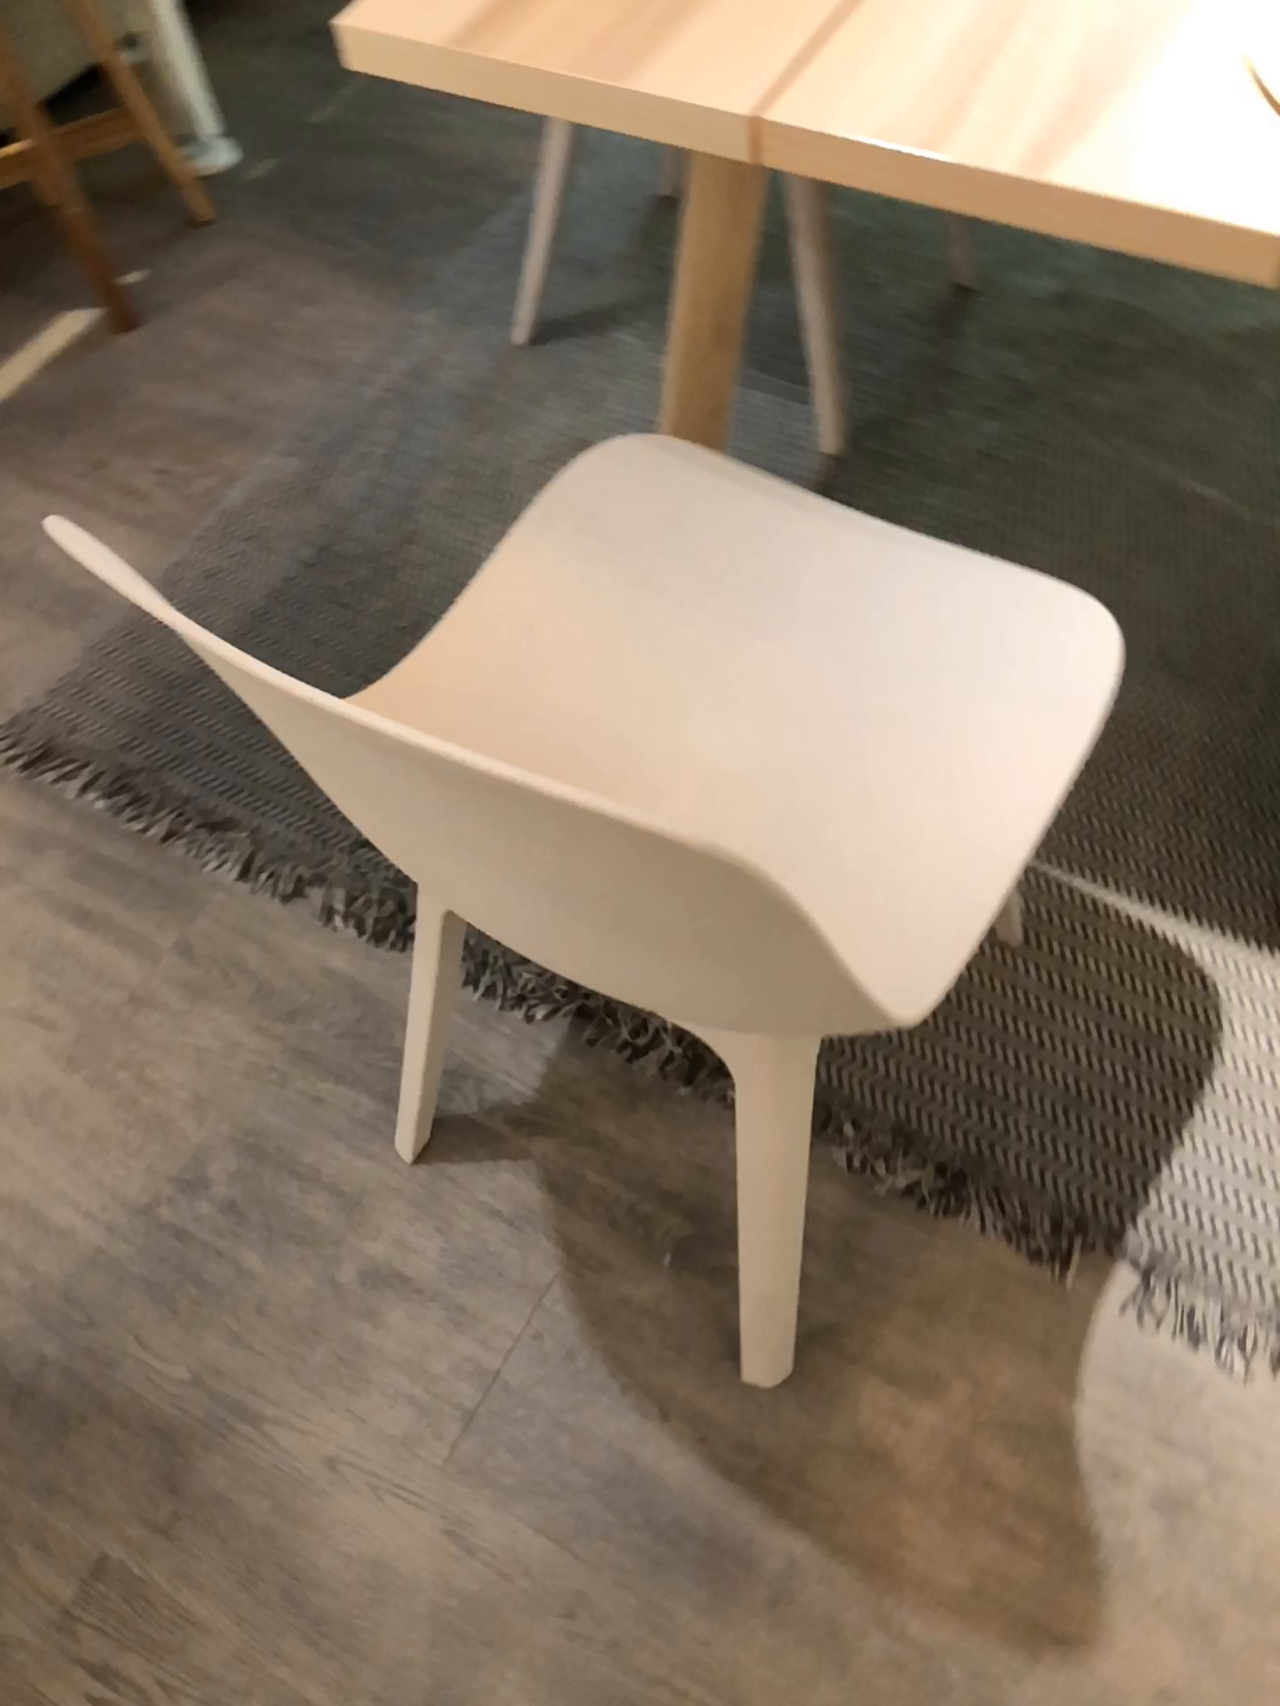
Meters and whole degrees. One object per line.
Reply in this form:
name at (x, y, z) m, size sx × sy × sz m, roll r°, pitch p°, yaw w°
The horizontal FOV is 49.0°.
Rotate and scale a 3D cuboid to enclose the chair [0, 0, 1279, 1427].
chair at (0.013, -0.057, 0.923) m, size 0.461 × 0.766 × 0.511 m, roll 25°, pitch 63°, yaw 20°
